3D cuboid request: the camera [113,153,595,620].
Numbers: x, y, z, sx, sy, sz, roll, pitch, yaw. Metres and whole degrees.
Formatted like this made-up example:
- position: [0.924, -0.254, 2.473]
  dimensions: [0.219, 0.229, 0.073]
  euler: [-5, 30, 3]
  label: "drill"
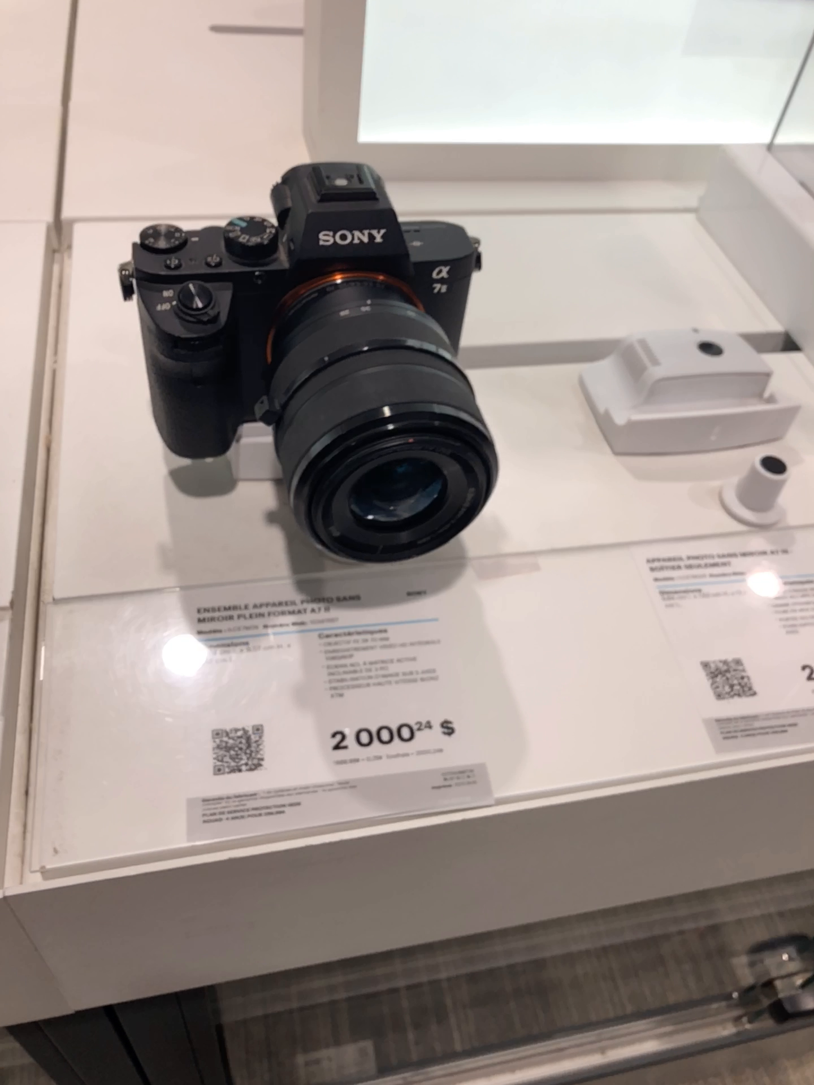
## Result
- position: [-0.029, -0.063, 0.334]
  dimensions: [0.134, 0.099, 0.131]
  euler: [-7, 50, -14]
  label: "camera"
